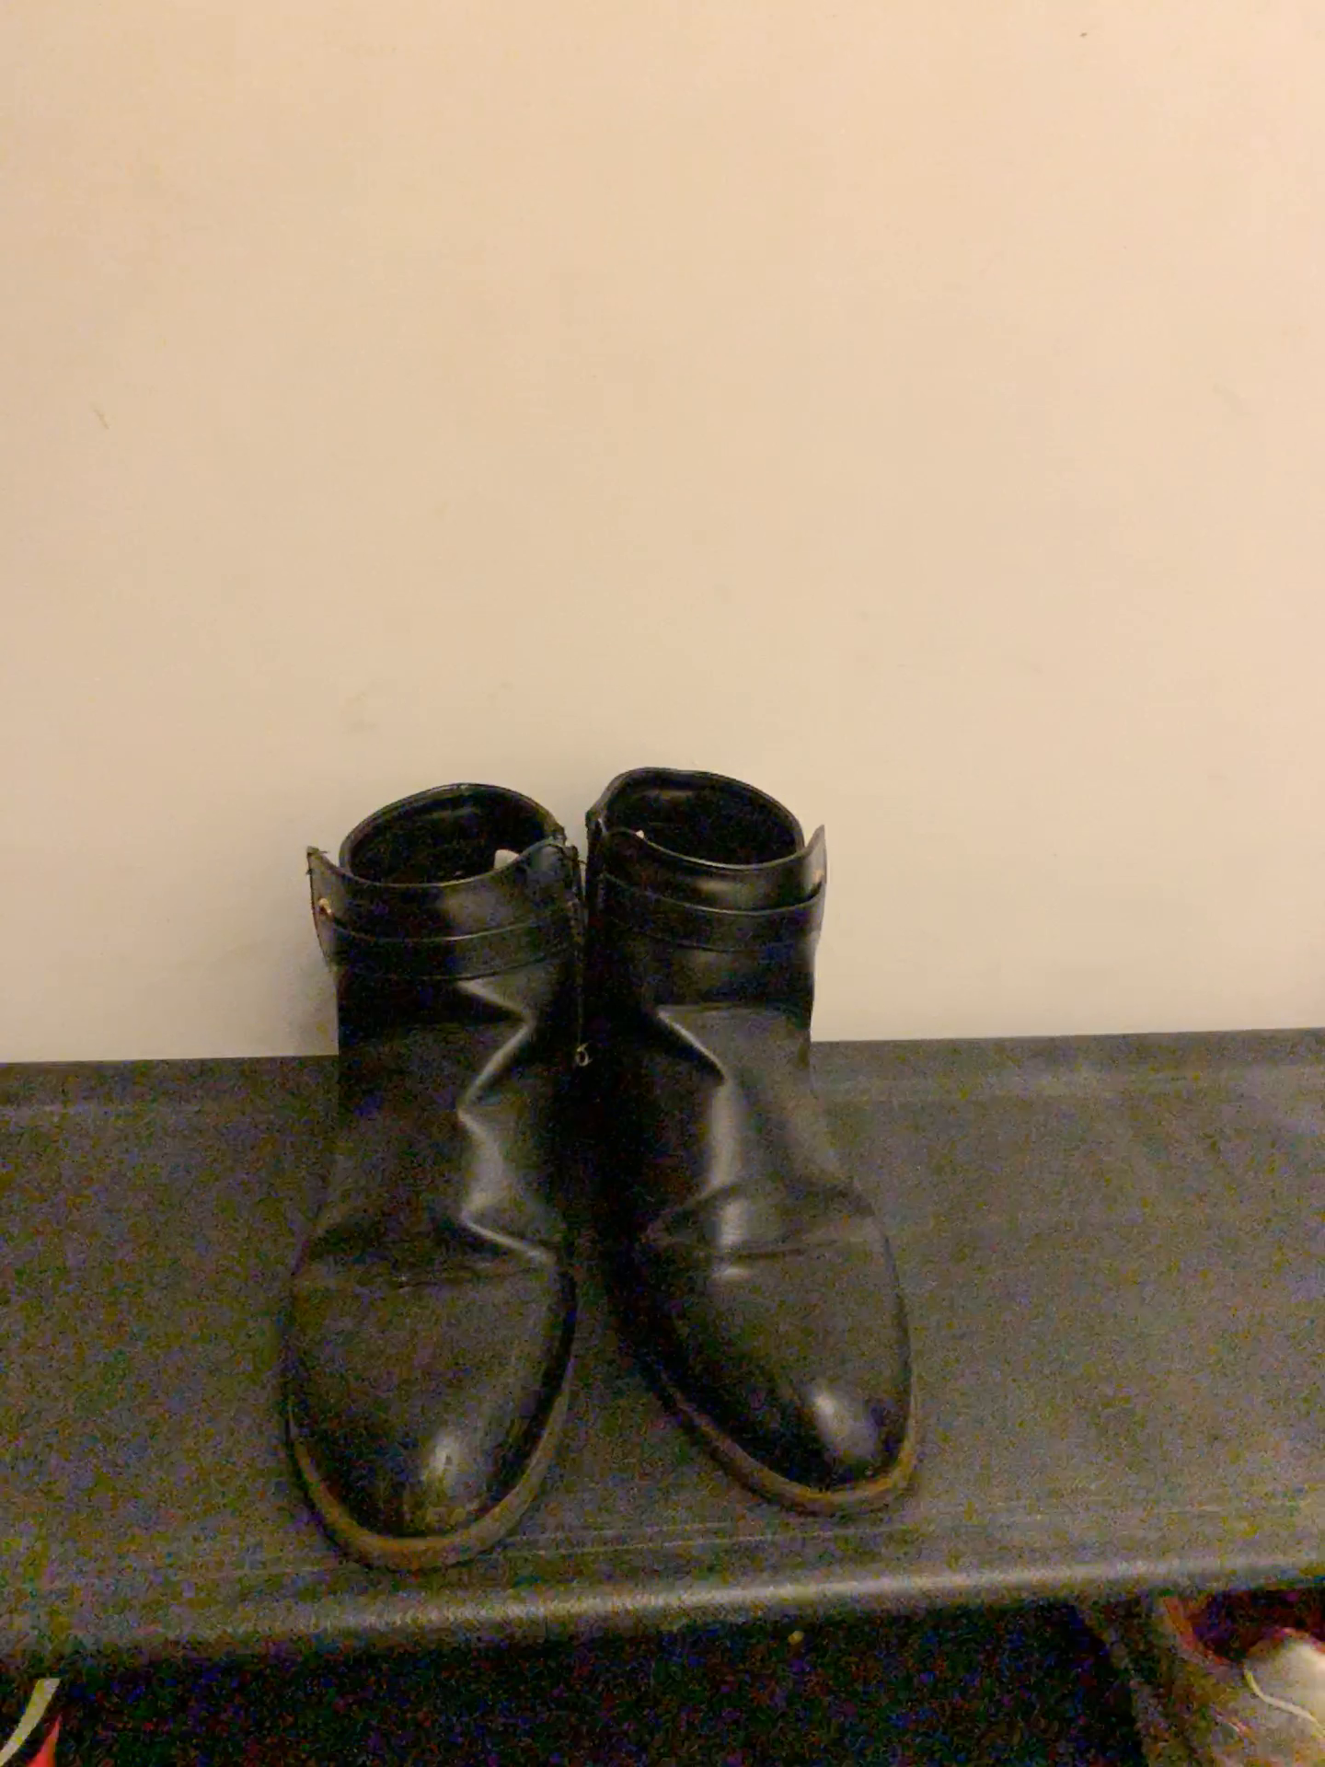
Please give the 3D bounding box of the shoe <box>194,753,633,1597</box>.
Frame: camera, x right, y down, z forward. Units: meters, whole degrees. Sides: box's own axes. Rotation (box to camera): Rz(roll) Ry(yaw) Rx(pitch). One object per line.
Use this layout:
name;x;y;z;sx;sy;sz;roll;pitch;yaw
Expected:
shoe;-0.070;0.074;0.448;0.100;0.169;0.222;0;24;-6

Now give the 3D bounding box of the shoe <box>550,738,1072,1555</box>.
shoe;0.028;0.068;0.485;0.100;0.169;0.242;-3;24;-12
